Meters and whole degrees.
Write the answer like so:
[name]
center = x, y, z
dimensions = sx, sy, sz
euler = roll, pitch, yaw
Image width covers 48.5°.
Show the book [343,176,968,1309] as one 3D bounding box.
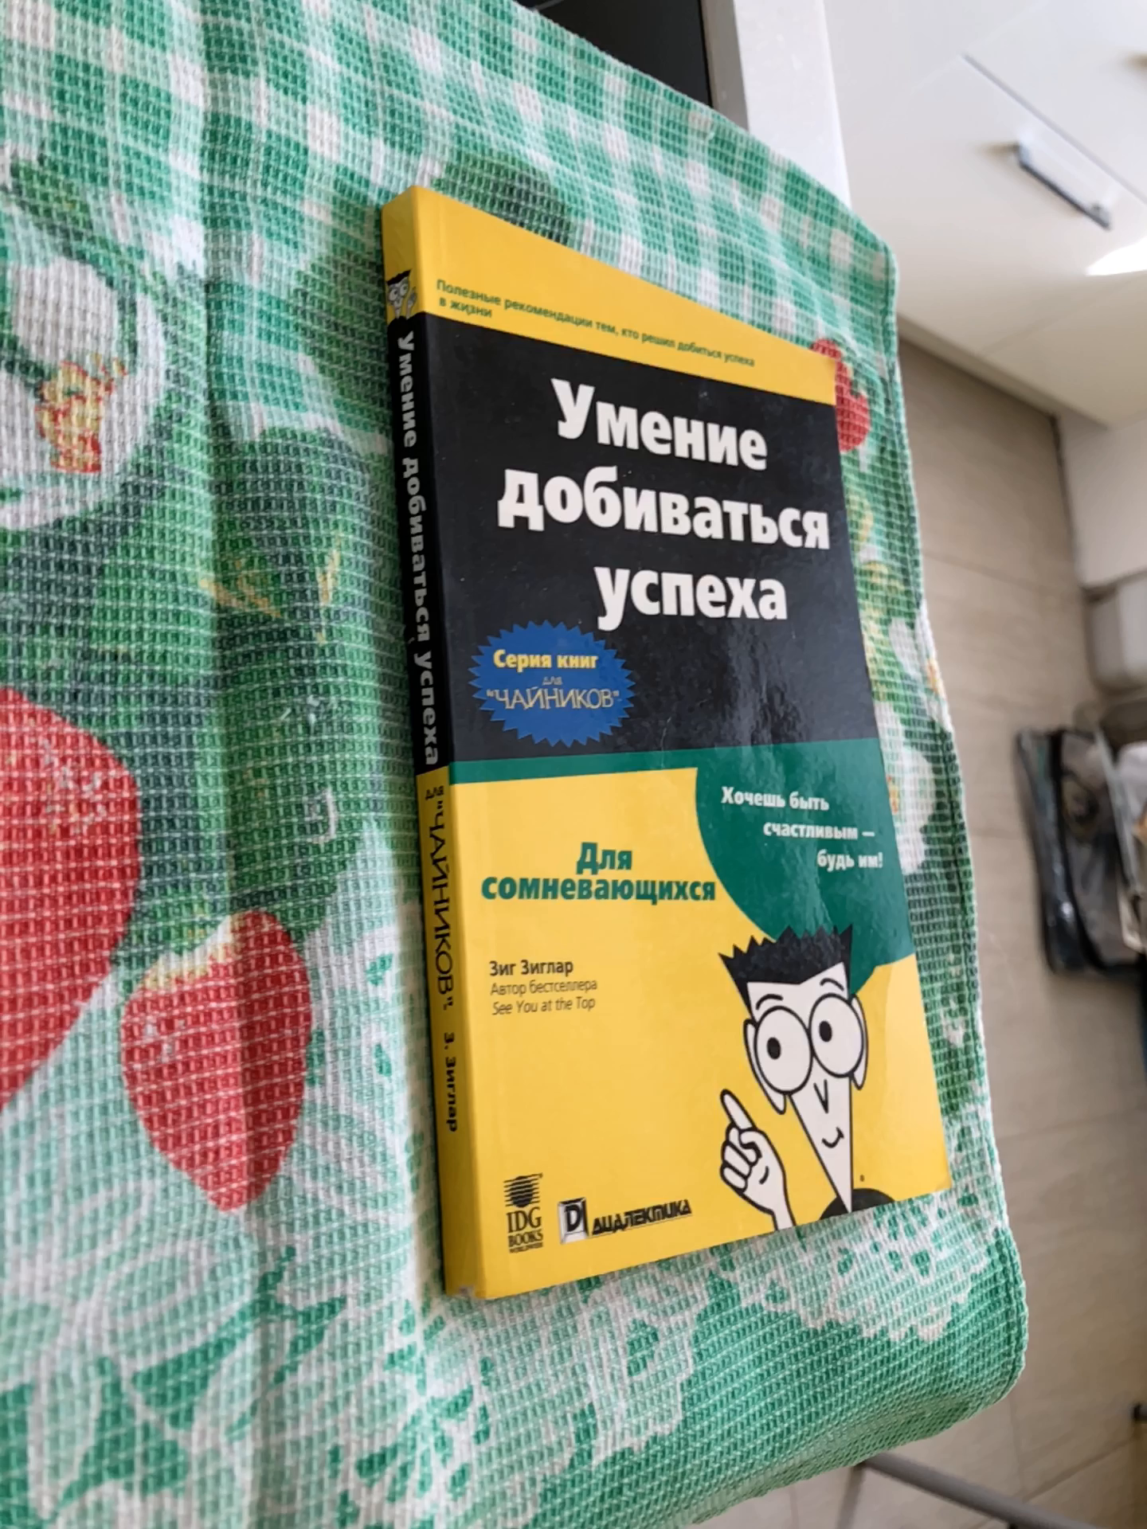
[book]
center = 0.017, -0.006, 0.229
dimensions = 0.113, 0.017, 0.172
euler = 5, 74, -38
